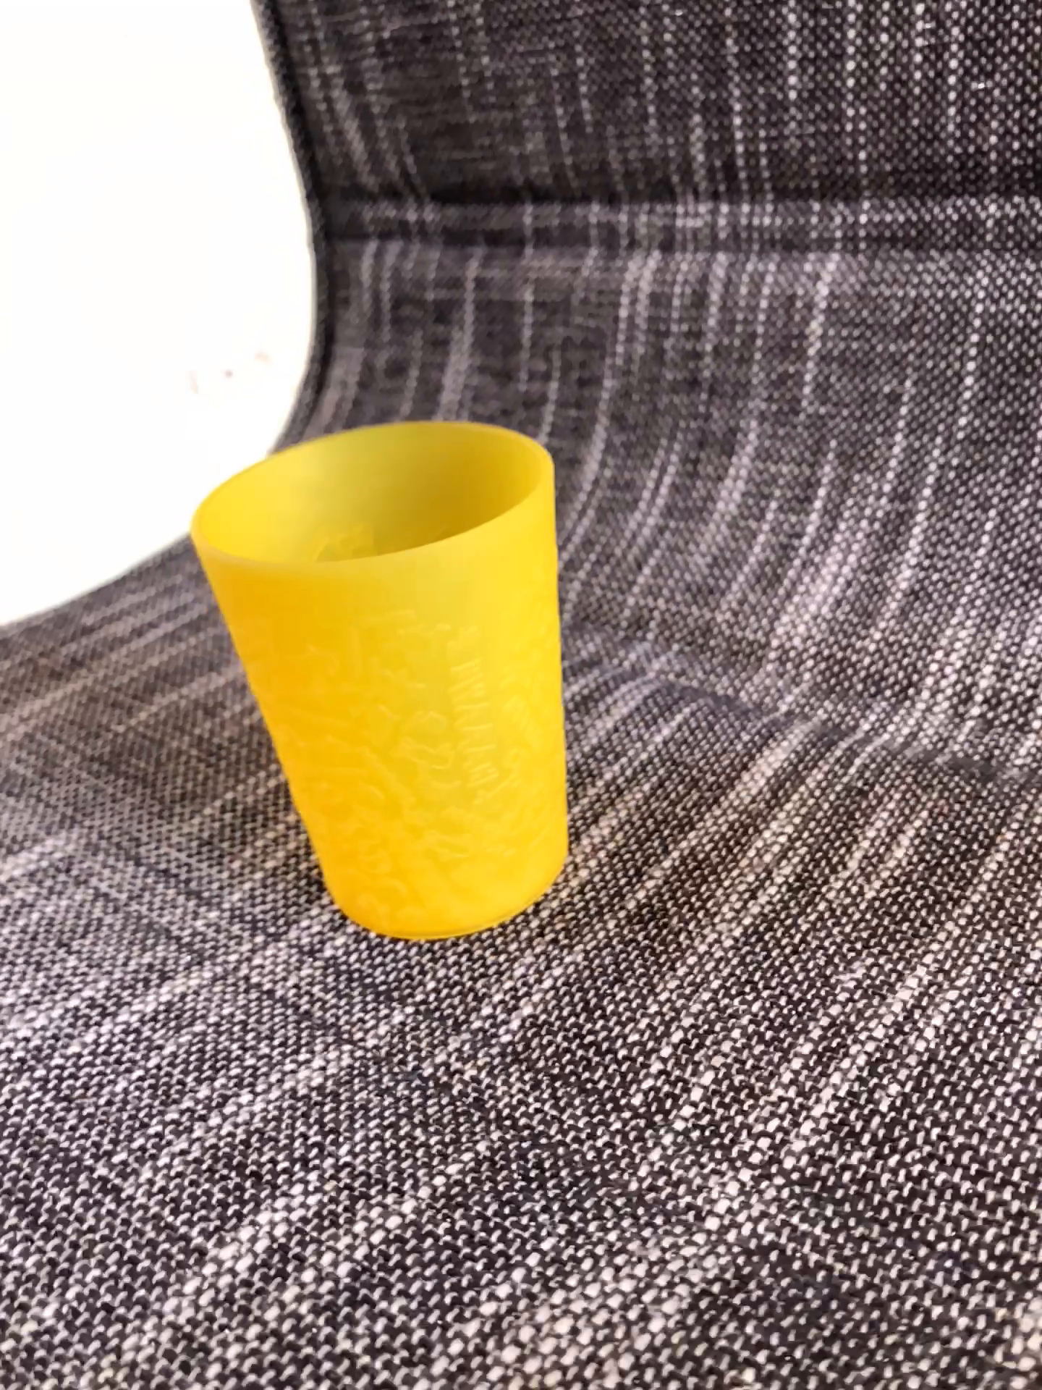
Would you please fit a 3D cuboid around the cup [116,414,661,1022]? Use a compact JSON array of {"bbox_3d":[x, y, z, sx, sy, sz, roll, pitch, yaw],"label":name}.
[{"bbox_3d":[-0.017,0.000,0.209,0.060,0.080,0.060,-6,32,4],"label":"cup"}]
